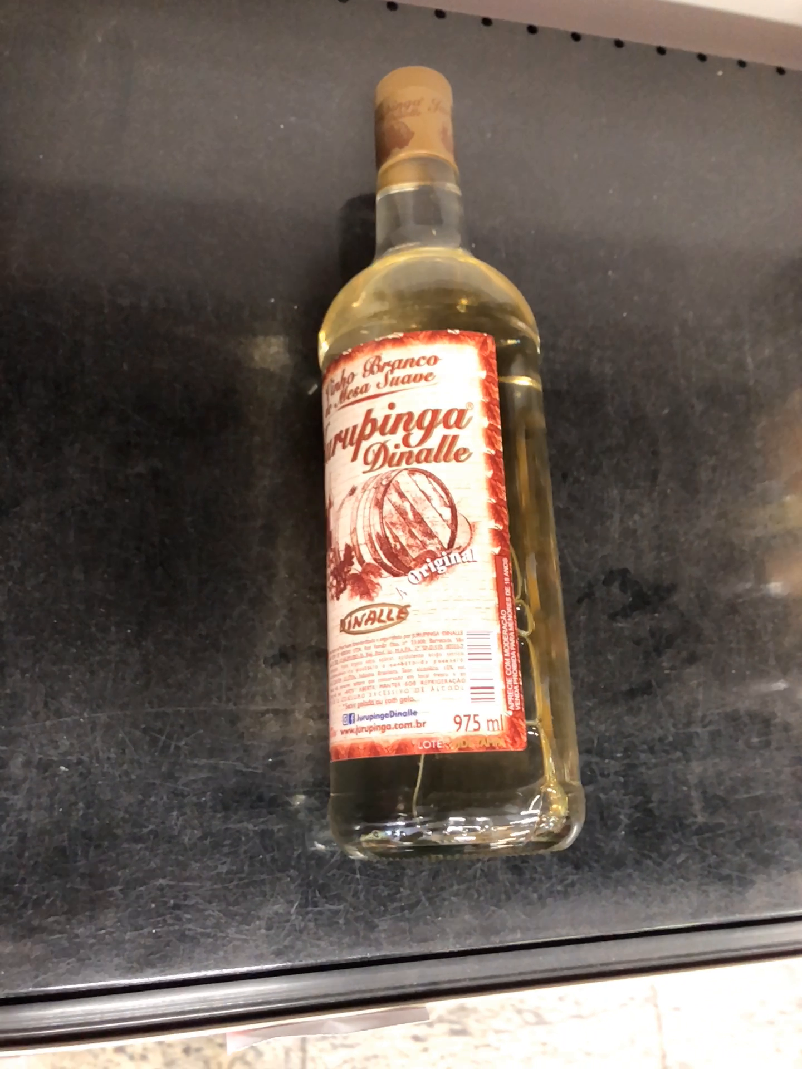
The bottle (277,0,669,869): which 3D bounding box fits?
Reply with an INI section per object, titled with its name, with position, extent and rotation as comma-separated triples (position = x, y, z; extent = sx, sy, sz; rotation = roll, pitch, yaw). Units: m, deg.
[bottle]
position = 0.020, -0.046, 0.322
extent = 0.100, 0.080, 0.300
rotation = 13, 69, -46
